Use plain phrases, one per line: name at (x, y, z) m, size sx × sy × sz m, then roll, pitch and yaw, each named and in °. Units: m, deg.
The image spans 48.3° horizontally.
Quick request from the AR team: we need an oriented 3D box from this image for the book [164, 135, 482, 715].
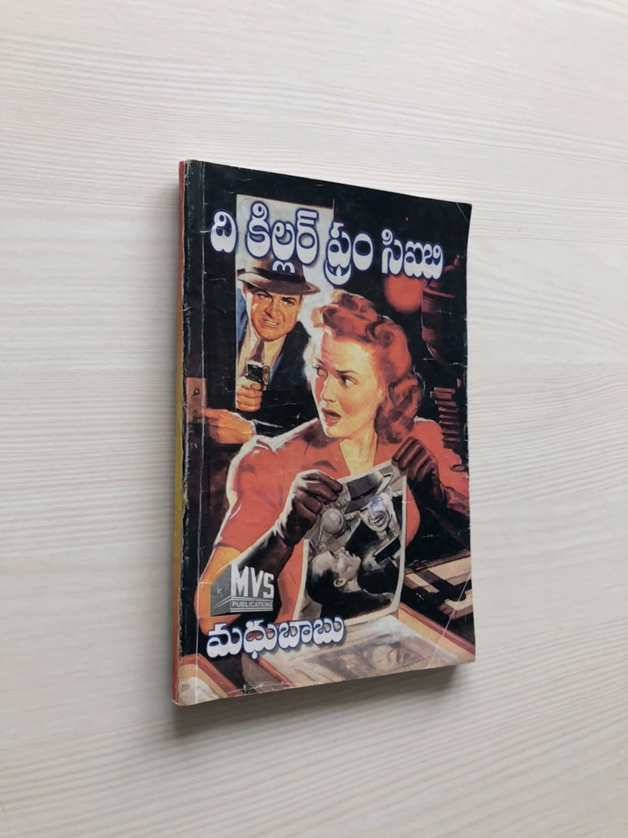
book at (0.006, 0.001, 0.219) m, size 0.100 × 0.012 × 0.160 m, roll 2°, pitch 84°, yaw -24°
